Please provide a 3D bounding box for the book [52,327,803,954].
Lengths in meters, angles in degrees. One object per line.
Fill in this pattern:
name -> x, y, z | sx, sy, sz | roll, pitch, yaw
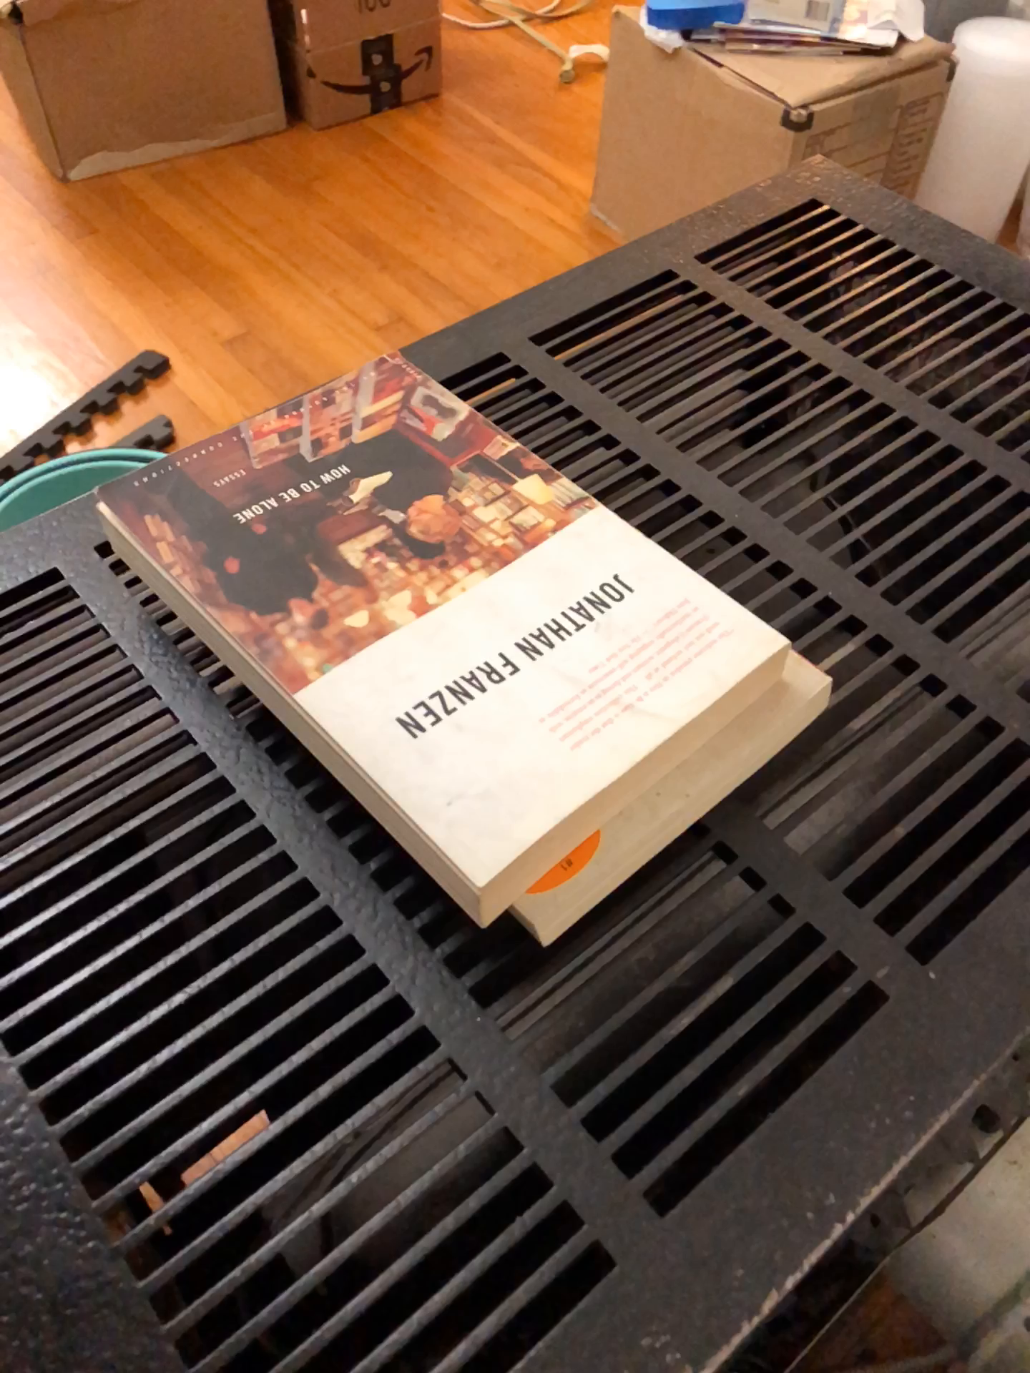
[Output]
book -> -0.034, -0.034, 0.391 | 0.150, 0.030, 0.210 | -36, 61, -26

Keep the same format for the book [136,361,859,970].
book -> -0.010, -0.025, 0.408 | 0.150, 0.030, 0.210 | -36, 61, -26
